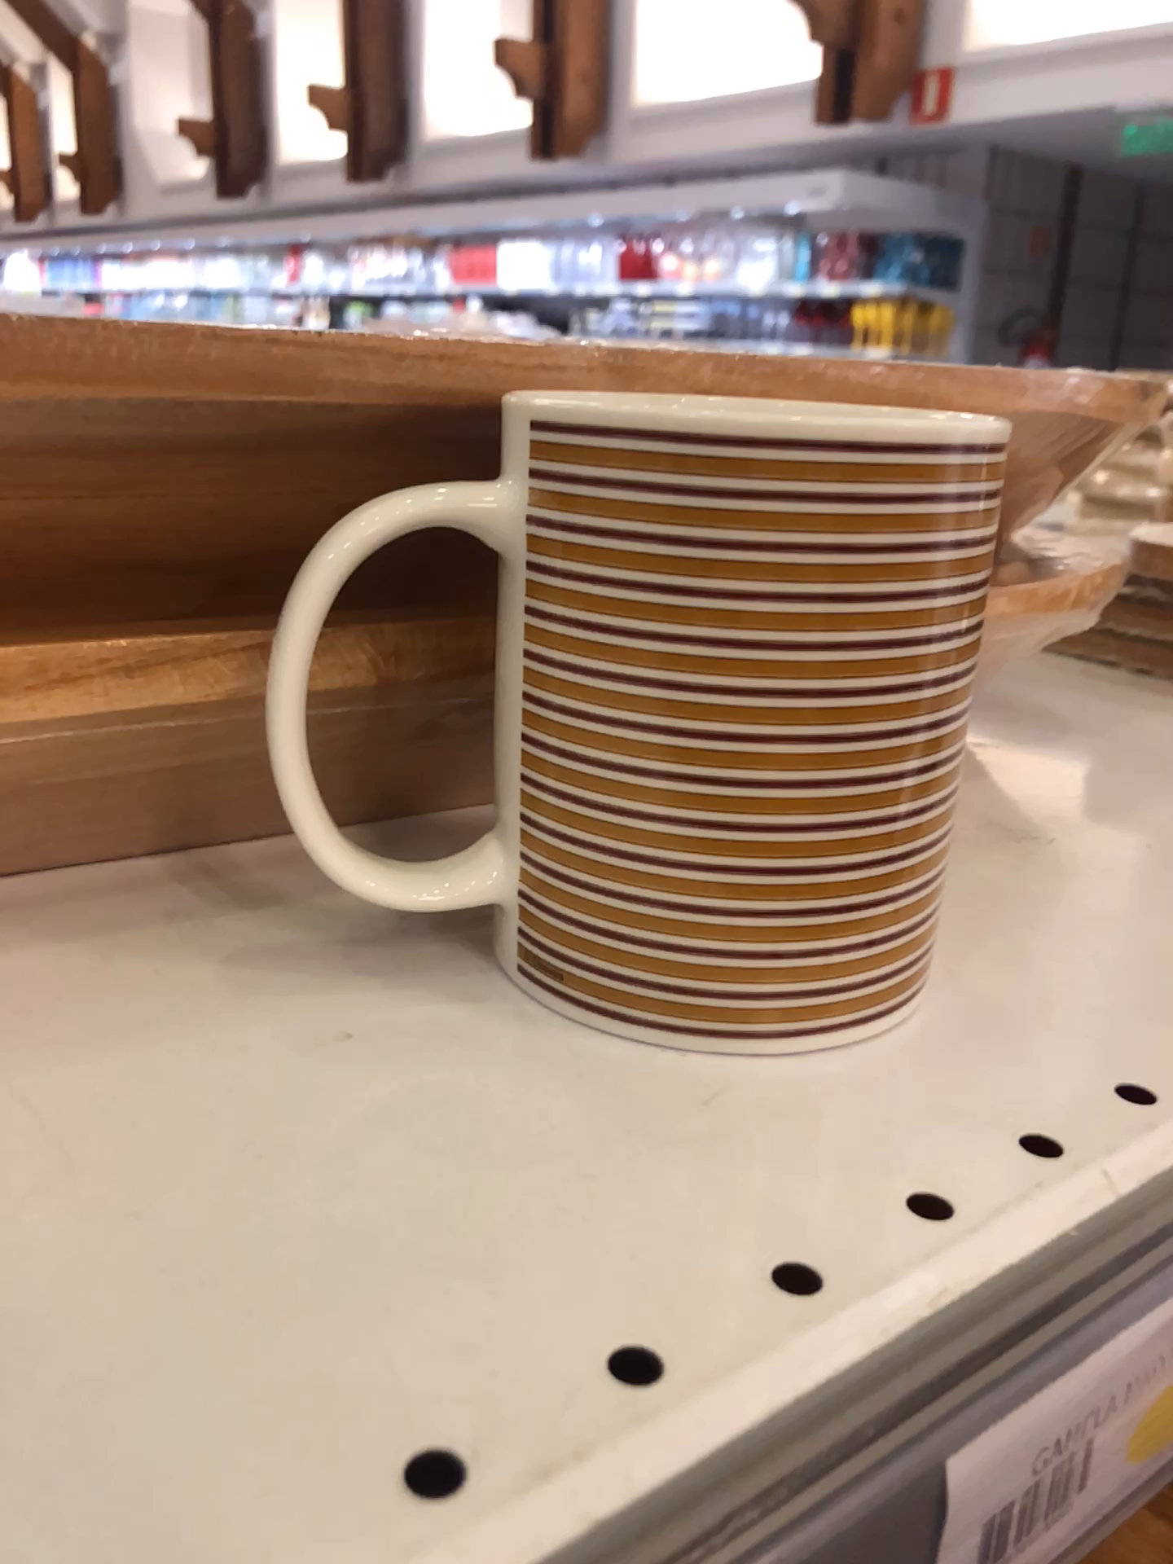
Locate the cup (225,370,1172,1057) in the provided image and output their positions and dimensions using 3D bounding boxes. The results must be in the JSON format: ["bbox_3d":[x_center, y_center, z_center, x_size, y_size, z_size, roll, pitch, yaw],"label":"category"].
[{"bbox_3d":[0.011,-0.018,0.218,0.120,0.090,0.091,2,17,-4],"label":"cup"}]
